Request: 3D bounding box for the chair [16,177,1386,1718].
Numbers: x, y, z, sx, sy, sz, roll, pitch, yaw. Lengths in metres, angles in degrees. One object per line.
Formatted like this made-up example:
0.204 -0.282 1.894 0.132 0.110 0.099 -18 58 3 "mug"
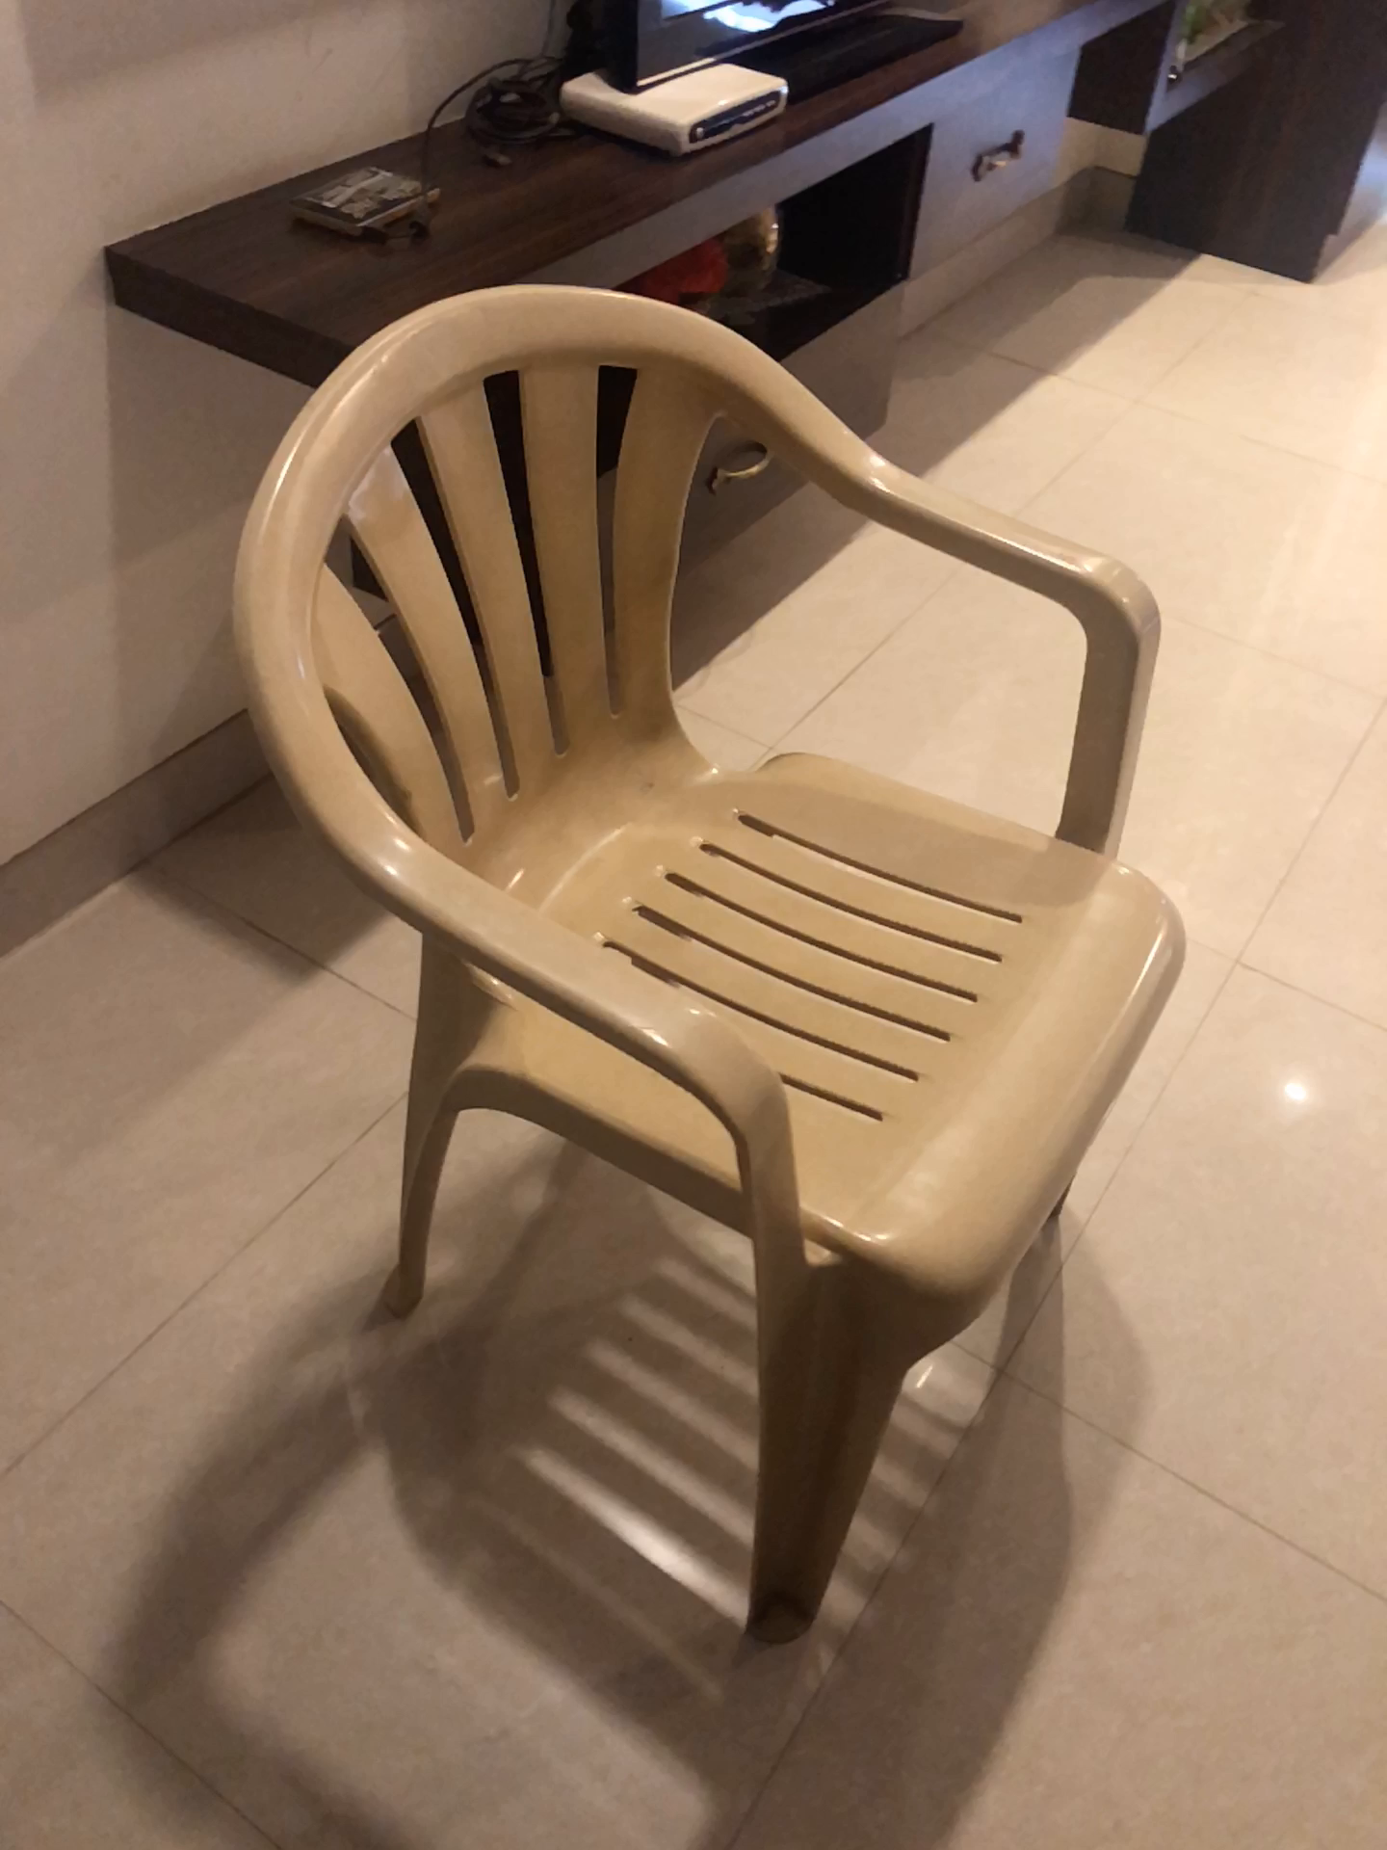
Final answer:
0.040 0.012 1.108 0.591 0.774 0.573 26 48 20 "chair"
